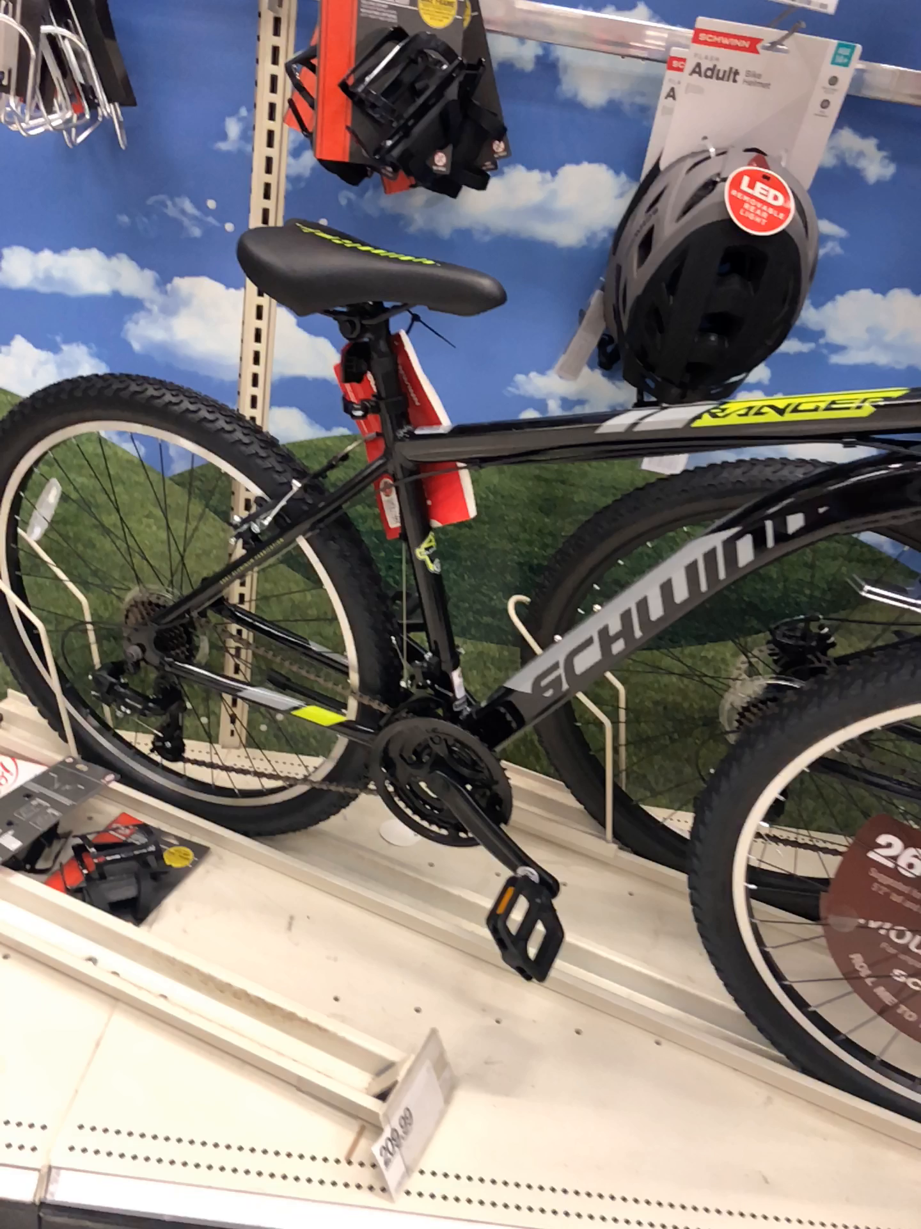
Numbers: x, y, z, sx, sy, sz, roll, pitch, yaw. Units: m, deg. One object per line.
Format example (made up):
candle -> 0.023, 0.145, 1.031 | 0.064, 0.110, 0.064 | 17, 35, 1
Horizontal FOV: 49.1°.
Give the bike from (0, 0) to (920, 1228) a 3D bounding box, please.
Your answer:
bike -> 0.087, 0.092, 0.989 | 1.652, 1.003, 0.601 | 20, 26, 18
